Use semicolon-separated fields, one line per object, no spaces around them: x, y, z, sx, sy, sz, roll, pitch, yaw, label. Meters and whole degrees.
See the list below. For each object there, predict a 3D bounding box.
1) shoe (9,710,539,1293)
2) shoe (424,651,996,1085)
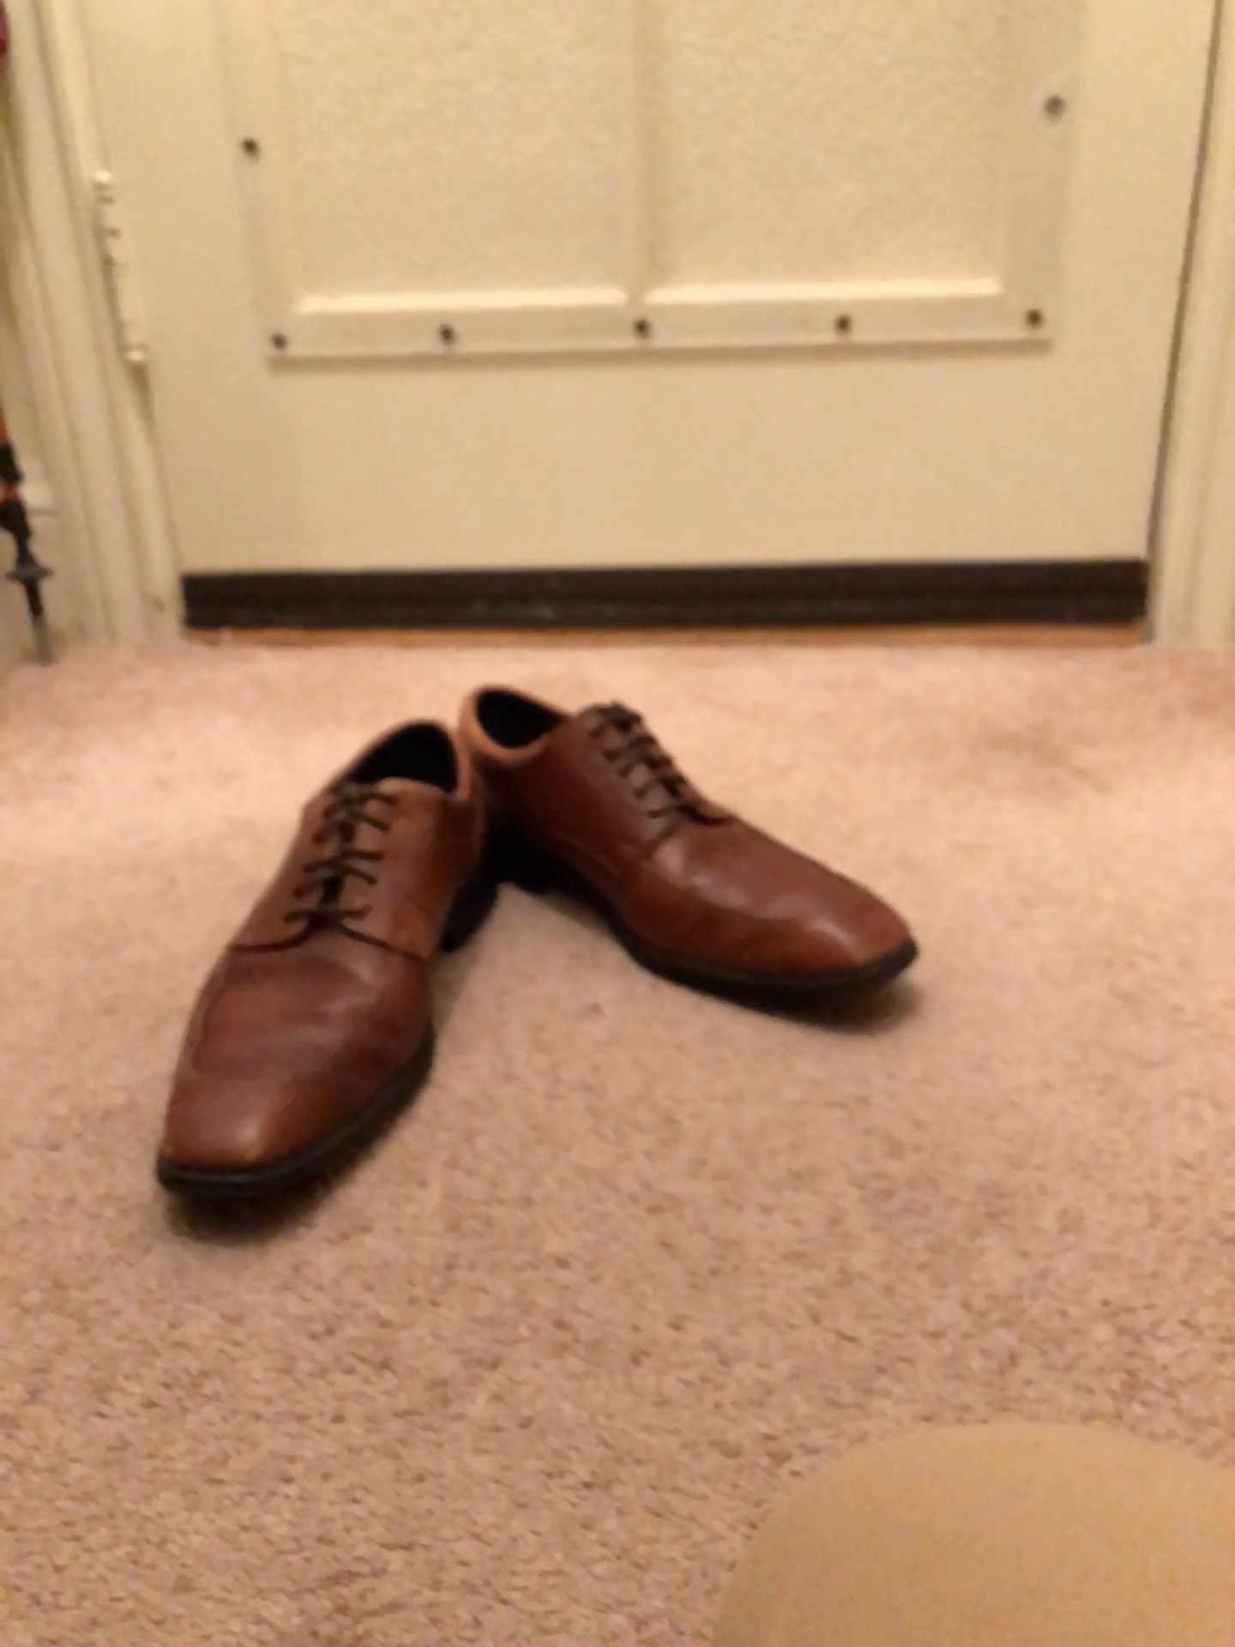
-0.132;0.058;0.647;0.120;0.119;0.302;2;26;10;shoe
0.034;0.006;0.718;0.100;0.109;0.301;-24;33;-37;shoe
